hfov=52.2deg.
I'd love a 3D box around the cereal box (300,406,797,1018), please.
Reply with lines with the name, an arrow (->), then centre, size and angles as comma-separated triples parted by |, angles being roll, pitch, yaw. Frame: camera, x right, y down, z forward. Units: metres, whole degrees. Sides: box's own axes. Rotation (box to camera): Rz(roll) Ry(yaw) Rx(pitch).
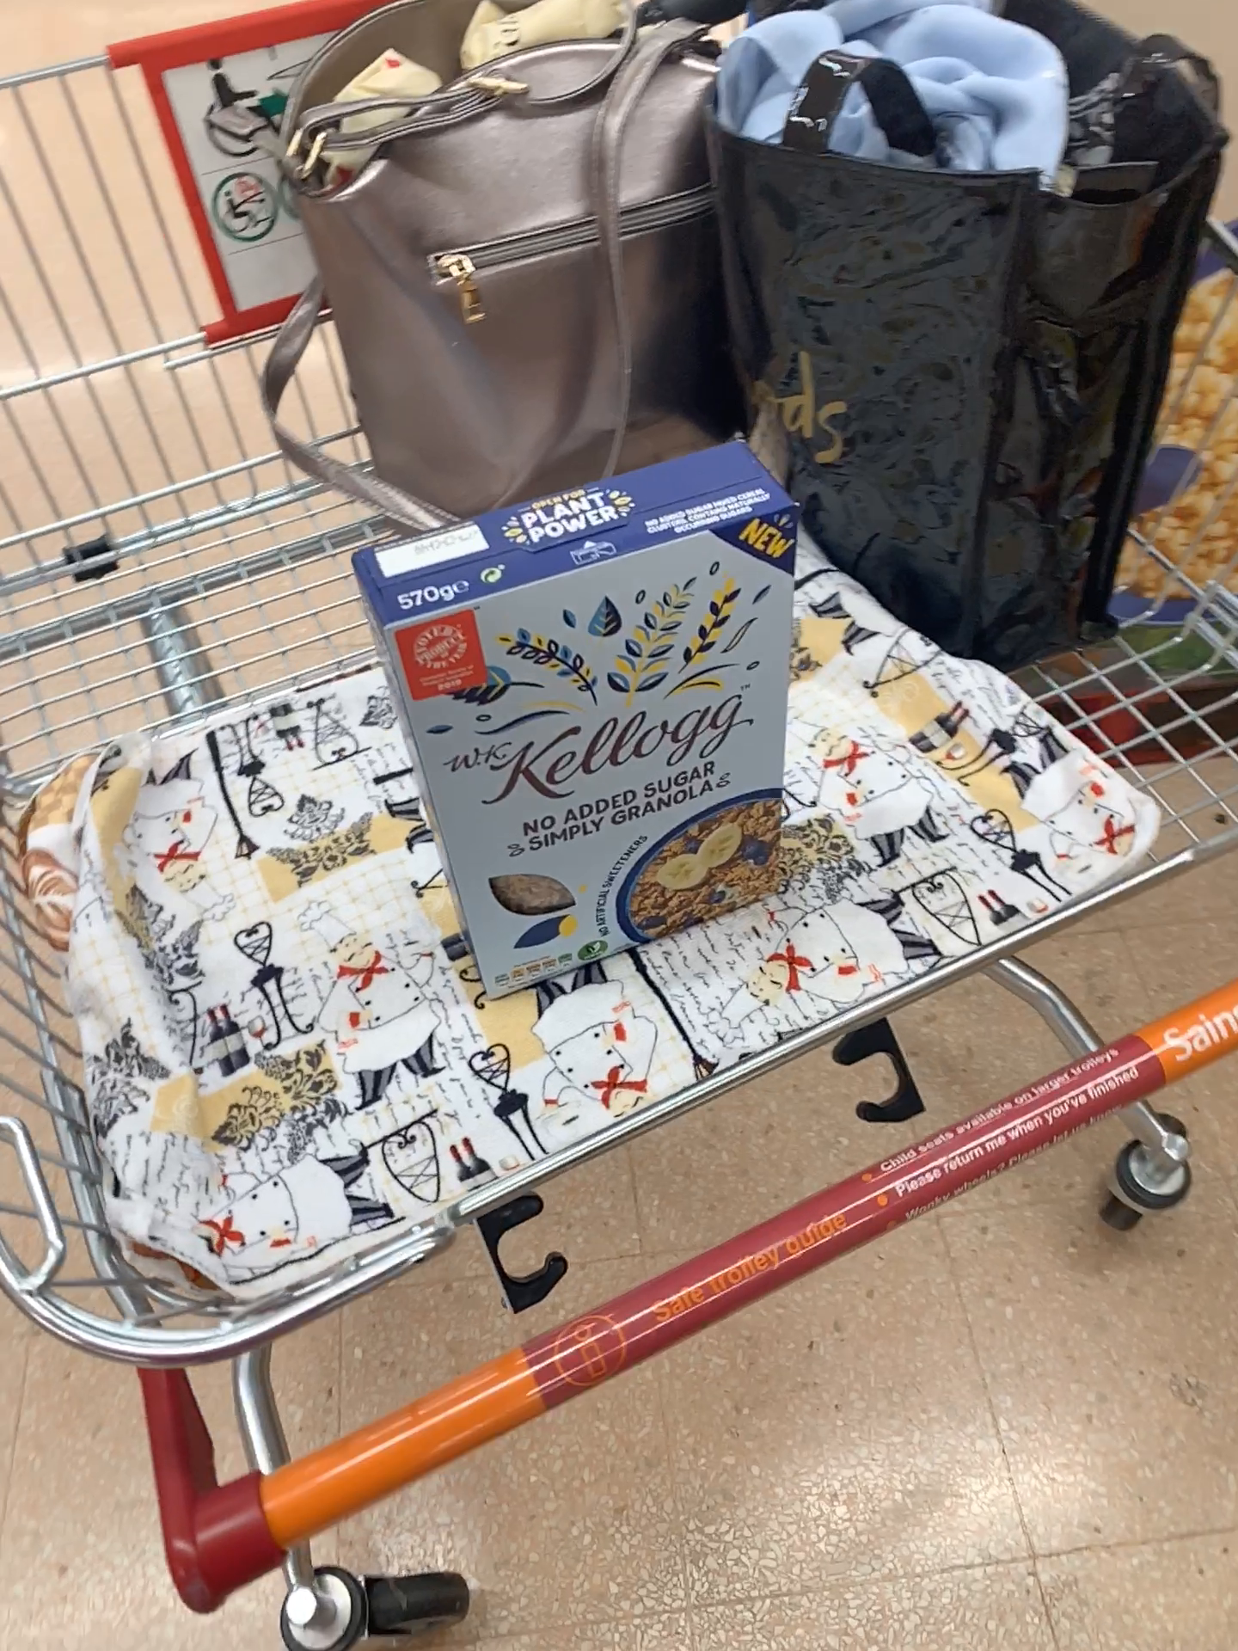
cereal box -> -0.018, -0.034, 0.541 | 0.170, 0.248, 0.050 | -18, 50, -12
